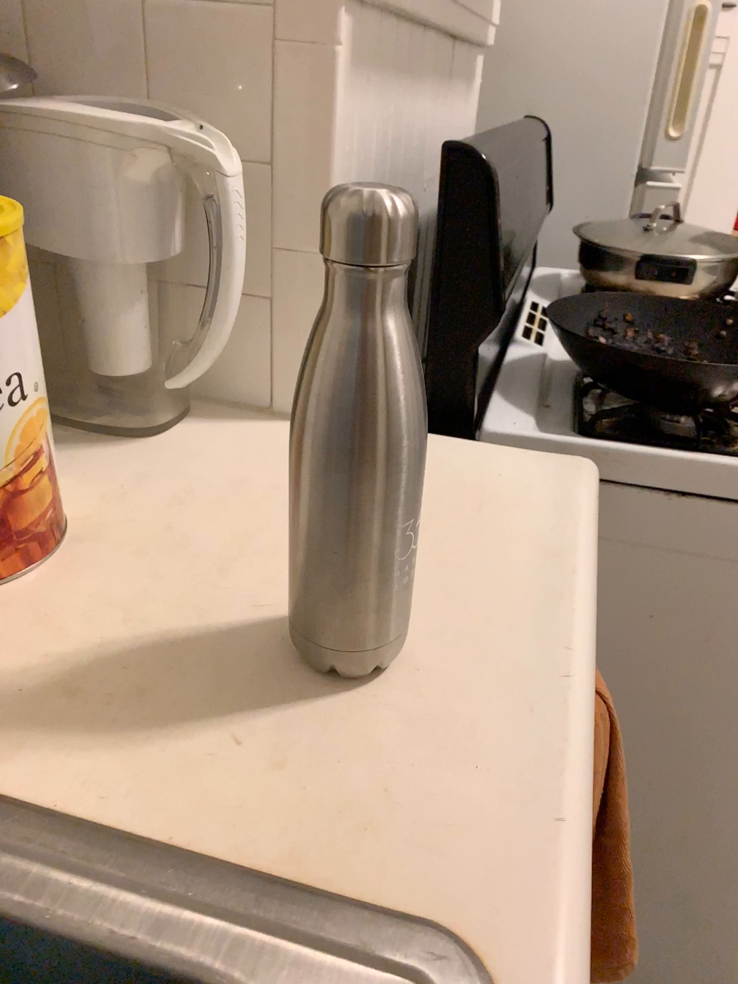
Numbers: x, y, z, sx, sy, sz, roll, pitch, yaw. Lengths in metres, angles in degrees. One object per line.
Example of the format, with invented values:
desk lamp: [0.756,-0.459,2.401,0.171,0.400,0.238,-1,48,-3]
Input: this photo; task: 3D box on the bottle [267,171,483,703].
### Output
bottle: [-0.003,-0.020,0.381,0.070,0.249,0.070,3,29,-2]
